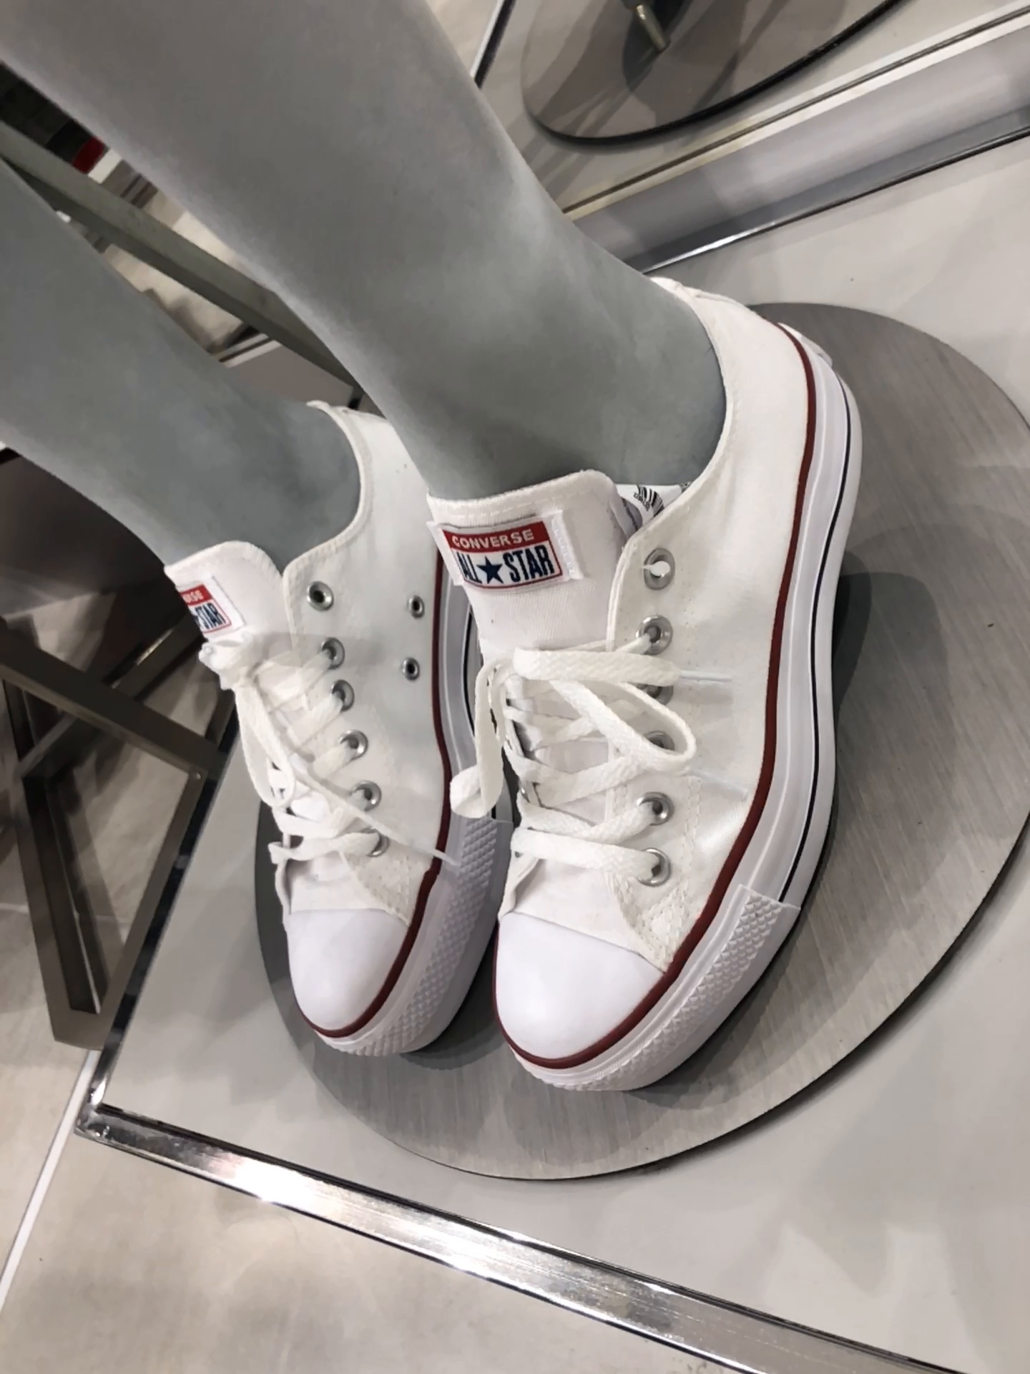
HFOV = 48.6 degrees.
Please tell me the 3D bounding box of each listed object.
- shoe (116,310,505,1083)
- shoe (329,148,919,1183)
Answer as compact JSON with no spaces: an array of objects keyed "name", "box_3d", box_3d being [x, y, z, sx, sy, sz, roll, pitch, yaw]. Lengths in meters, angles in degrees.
[{"name":"shoe","box_3d":[-0.074,0.008,0.451,0.100,0.090,0.271,-11,70,38]},{"name":"shoe","box_3d":[0.037,-0.007,0.371,0.111,0.090,0.280,5,81,45]}]
